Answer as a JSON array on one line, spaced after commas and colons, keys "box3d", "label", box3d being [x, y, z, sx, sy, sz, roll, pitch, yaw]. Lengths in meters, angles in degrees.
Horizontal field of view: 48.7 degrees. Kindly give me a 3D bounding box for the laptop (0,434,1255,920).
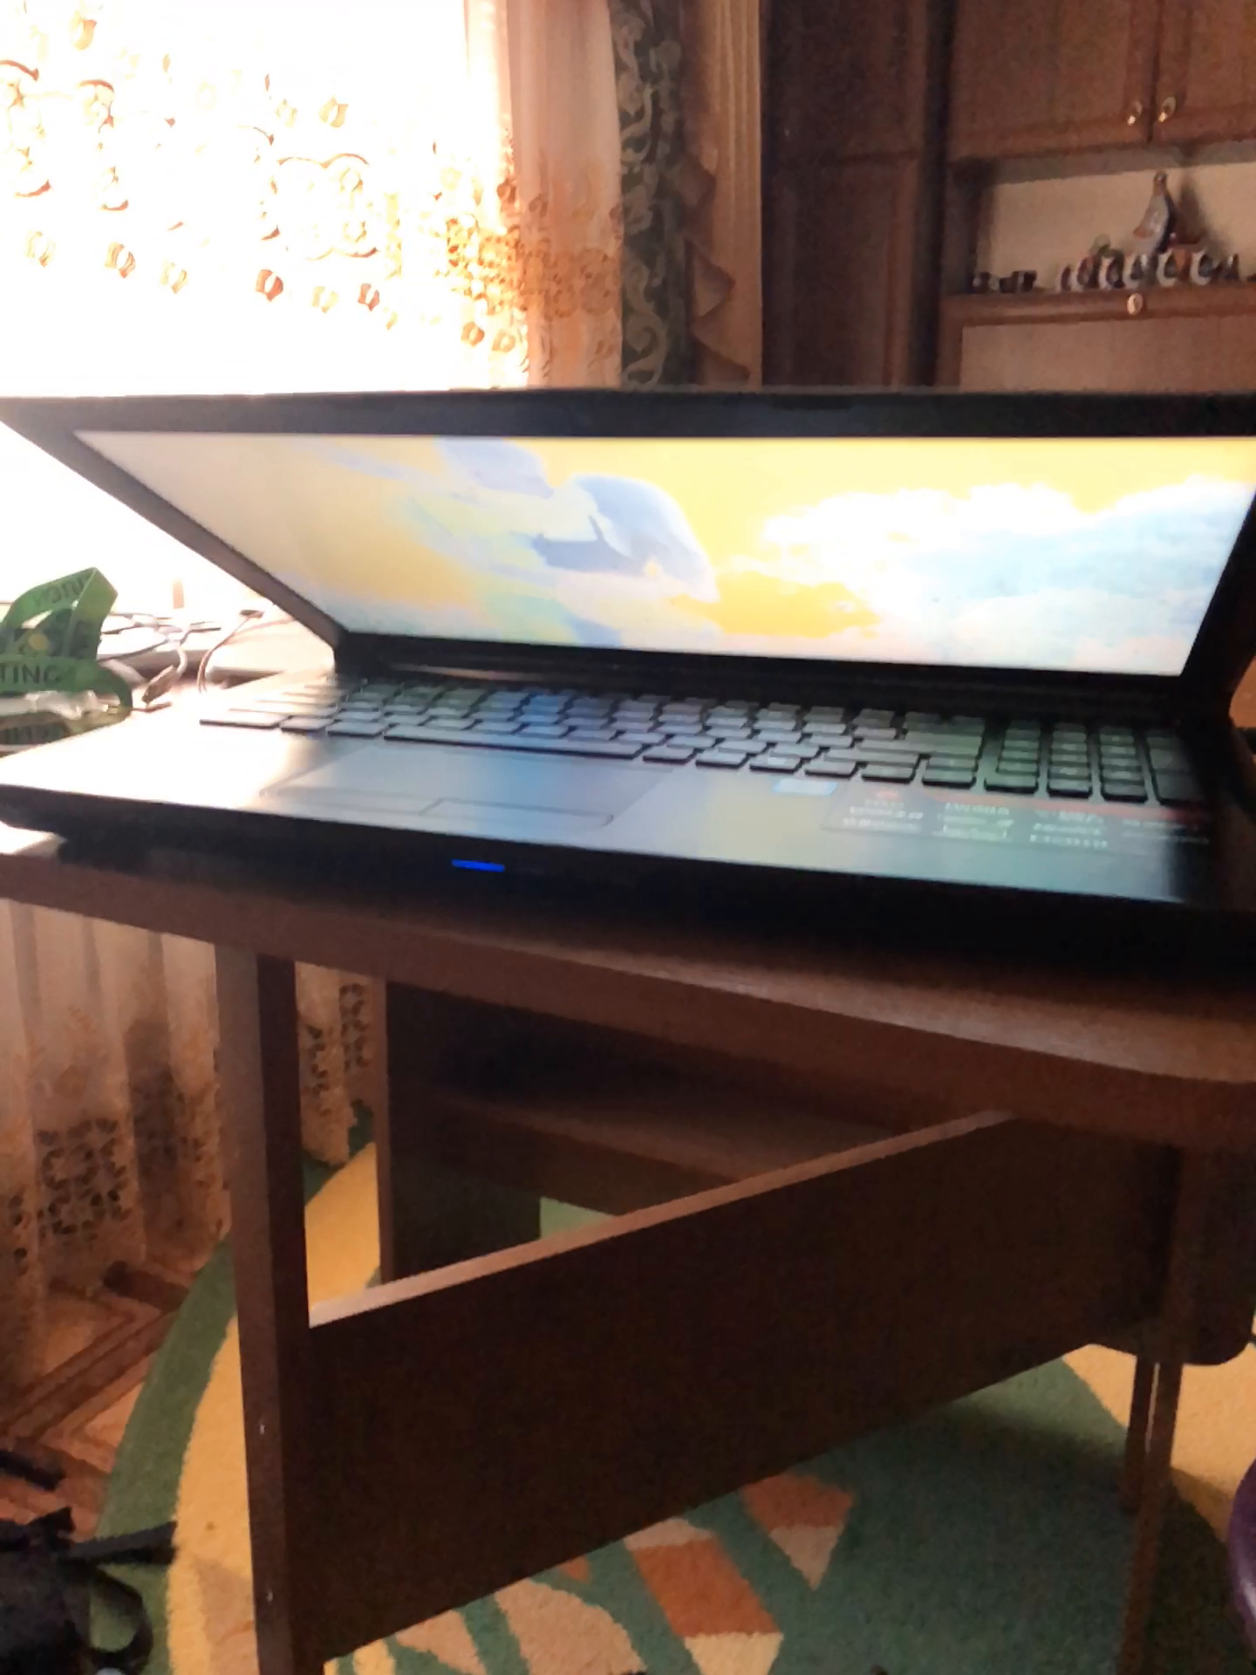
[{"box3d": [0.005, -0.078, 0.445, 0.372, 0.095, 0.239, 5, 17, 18], "label": "laptop"}]
